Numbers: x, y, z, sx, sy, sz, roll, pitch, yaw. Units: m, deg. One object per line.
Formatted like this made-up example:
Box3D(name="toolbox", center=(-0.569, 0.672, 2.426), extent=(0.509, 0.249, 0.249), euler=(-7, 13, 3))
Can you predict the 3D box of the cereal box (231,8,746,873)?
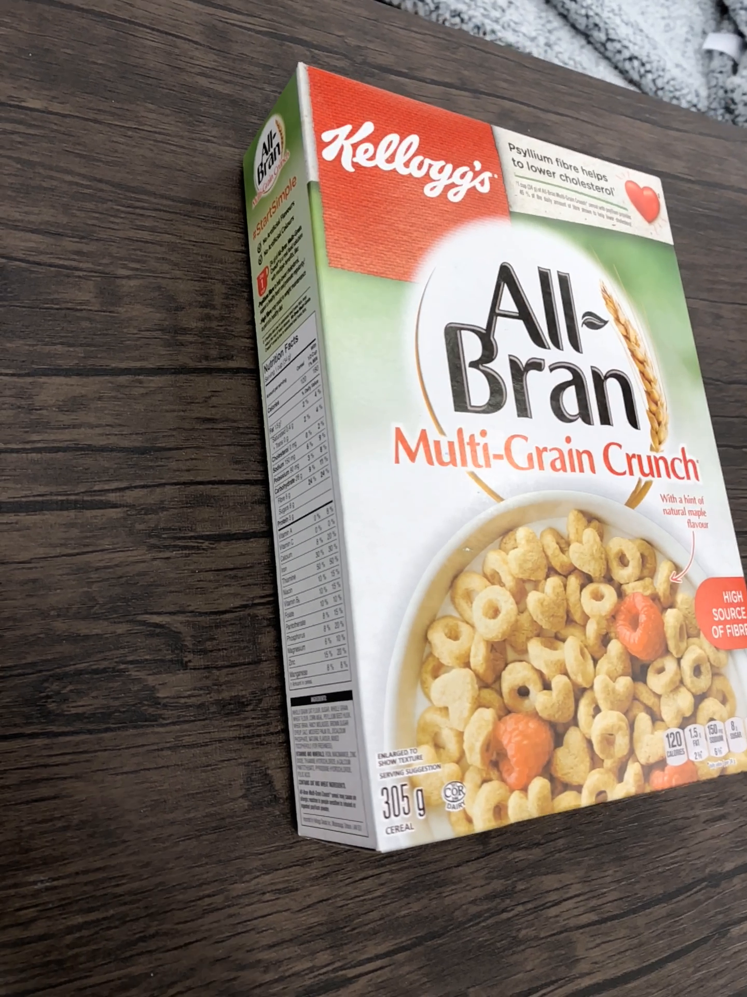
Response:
Box3D(name="cereal box", center=(0.063, -0.026, 0.352), extent=(0.211, 0.070, 0.300), euler=(2, 72, -30))
